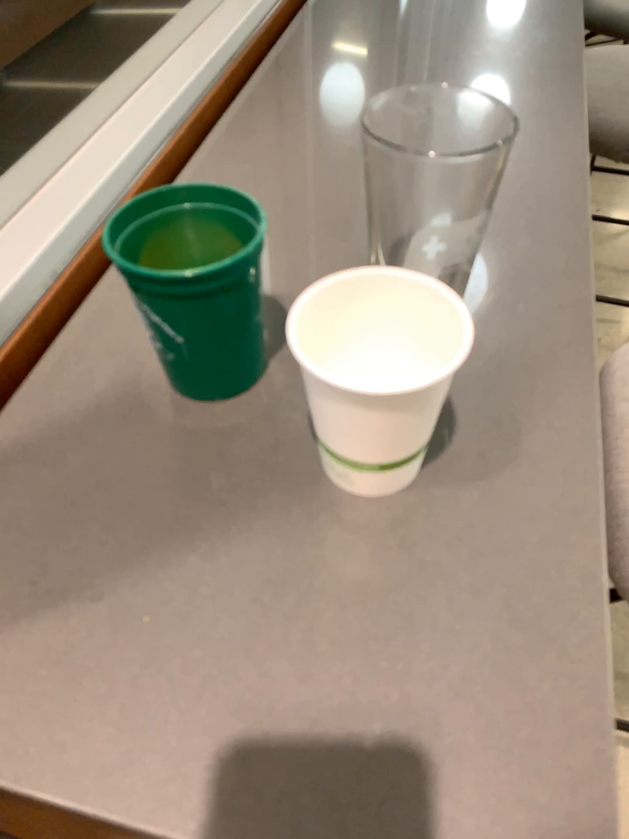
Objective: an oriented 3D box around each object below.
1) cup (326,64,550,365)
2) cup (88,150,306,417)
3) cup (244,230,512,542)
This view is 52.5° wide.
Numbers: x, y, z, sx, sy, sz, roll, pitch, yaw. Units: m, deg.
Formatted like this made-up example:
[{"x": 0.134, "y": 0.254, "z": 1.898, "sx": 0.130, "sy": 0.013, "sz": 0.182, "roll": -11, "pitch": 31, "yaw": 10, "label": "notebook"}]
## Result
[{"x": 0.068, "y": -0.126, "z": 0.405, "sx": 0.090, "sy": 0.139, "sz": 0.090, "roll": -2, "pitch": 49, "yaw": 2, "label": "cup"}, {"x": -0.069, "y": -0.083, "z": 0.395, "sx": 0.090, "sy": 0.109, "sz": 0.090, "roll": -2, "pitch": 49, "yaw": 2, "label": "cup"}, {"x": 0.030, "y": -0.018, "z": 0.341, "sx": 0.090, "sy": 0.109, "sz": 0.090, "roll": -2, "pitch": 49, "yaw": 2, "label": "cup"}]
